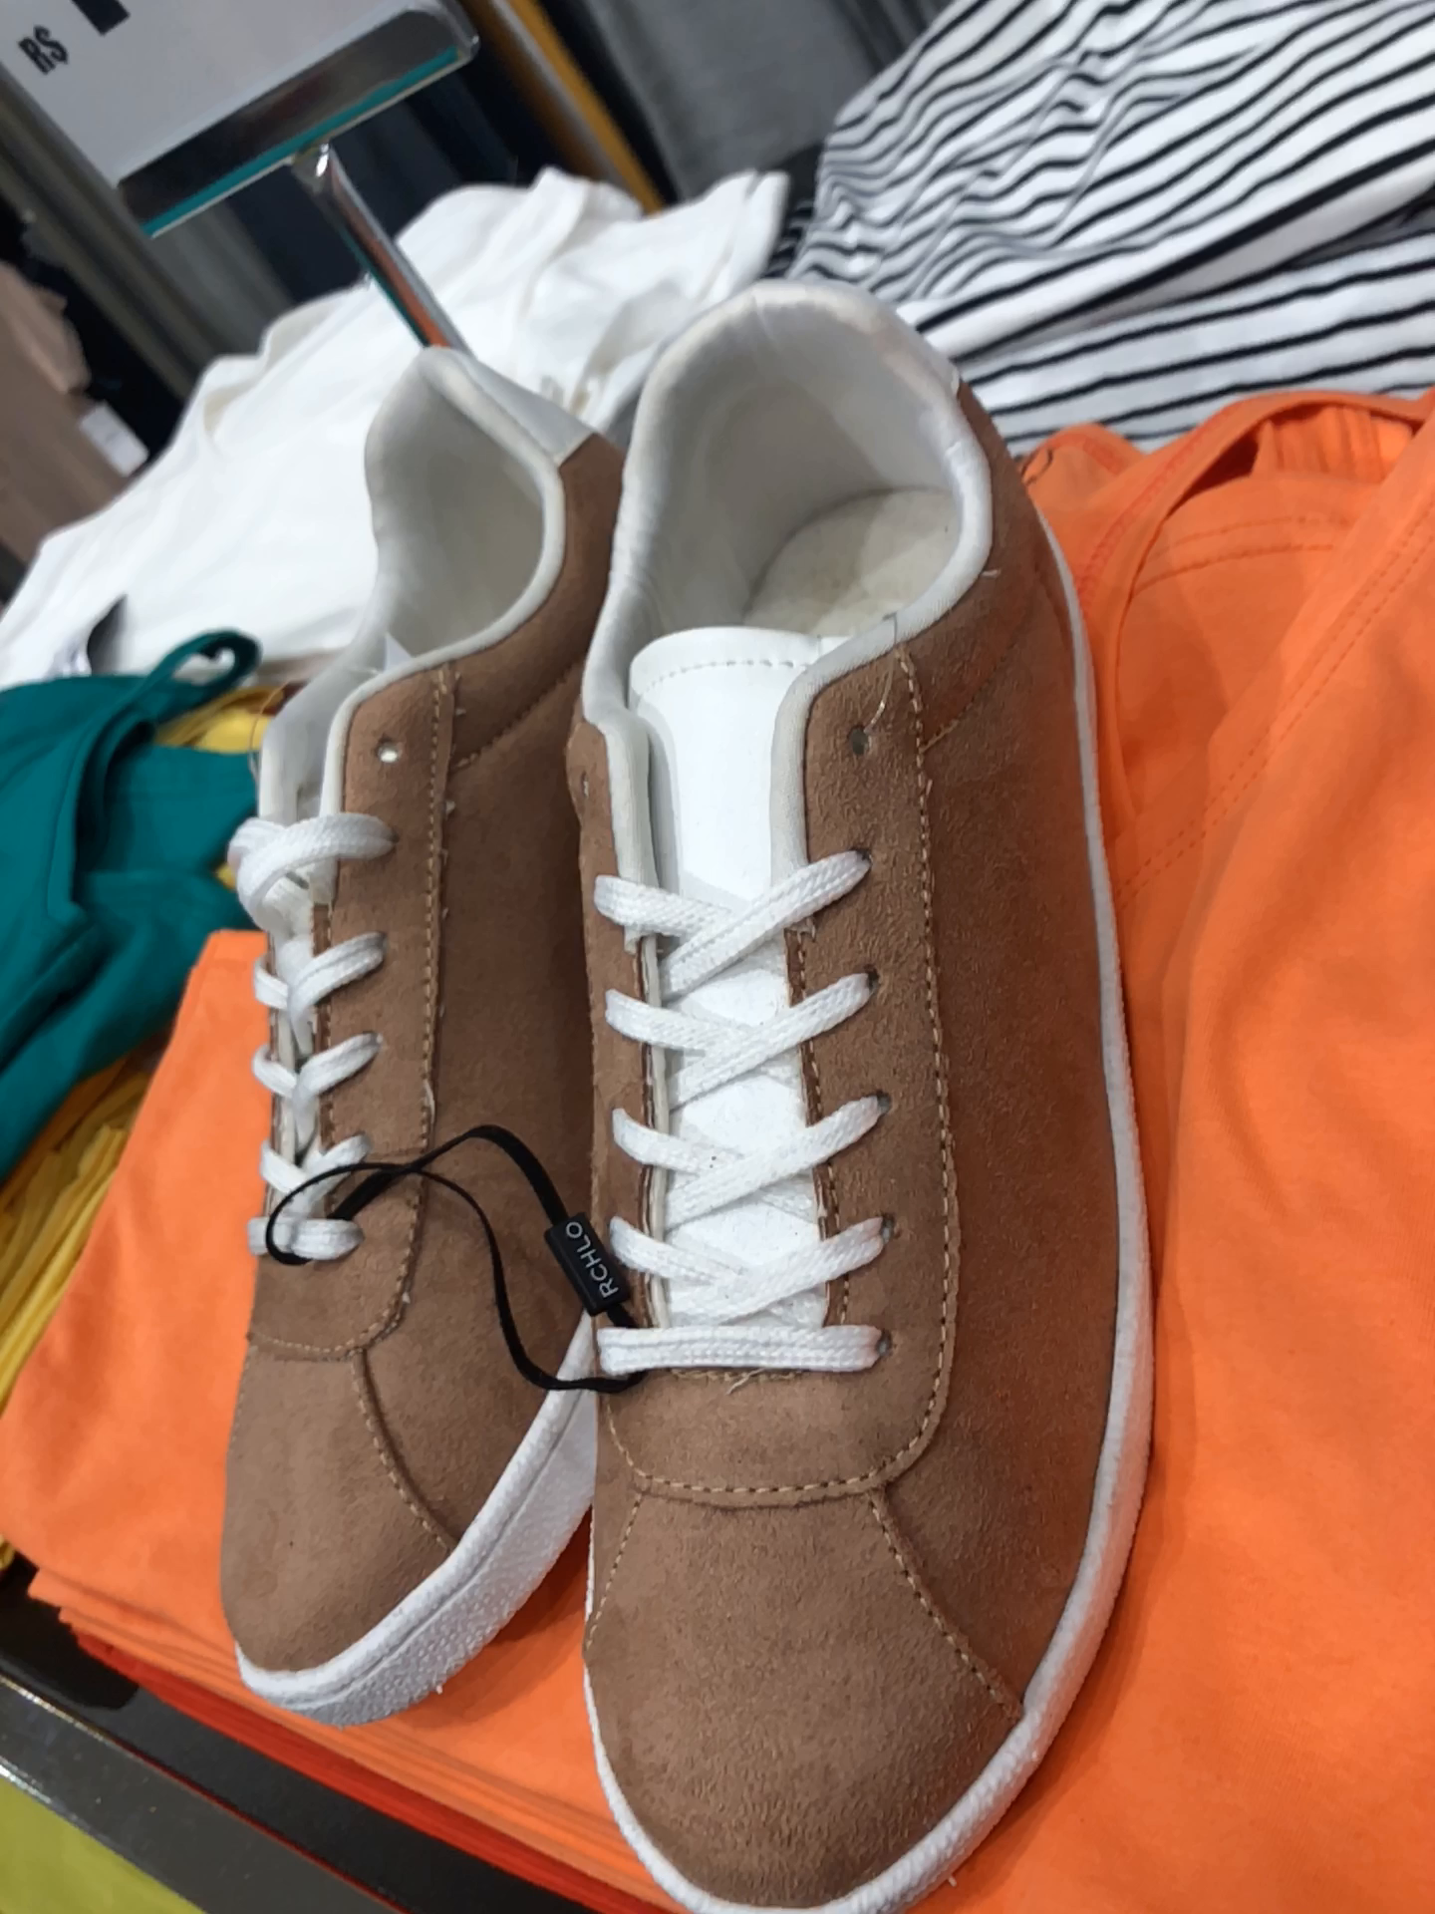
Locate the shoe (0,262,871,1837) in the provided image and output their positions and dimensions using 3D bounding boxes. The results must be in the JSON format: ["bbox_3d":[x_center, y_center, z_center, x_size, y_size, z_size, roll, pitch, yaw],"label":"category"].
[{"bbox_3d":[-0.054,0.014,0.301,0.090,0.099,0.251,-6,63,37],"label":"shoe"}]

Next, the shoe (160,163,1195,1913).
[{"bbox_3d":[0.013,0.016,0.259,0.090,0.099,0.251,-9,61,34],"label":"shoe"}]
